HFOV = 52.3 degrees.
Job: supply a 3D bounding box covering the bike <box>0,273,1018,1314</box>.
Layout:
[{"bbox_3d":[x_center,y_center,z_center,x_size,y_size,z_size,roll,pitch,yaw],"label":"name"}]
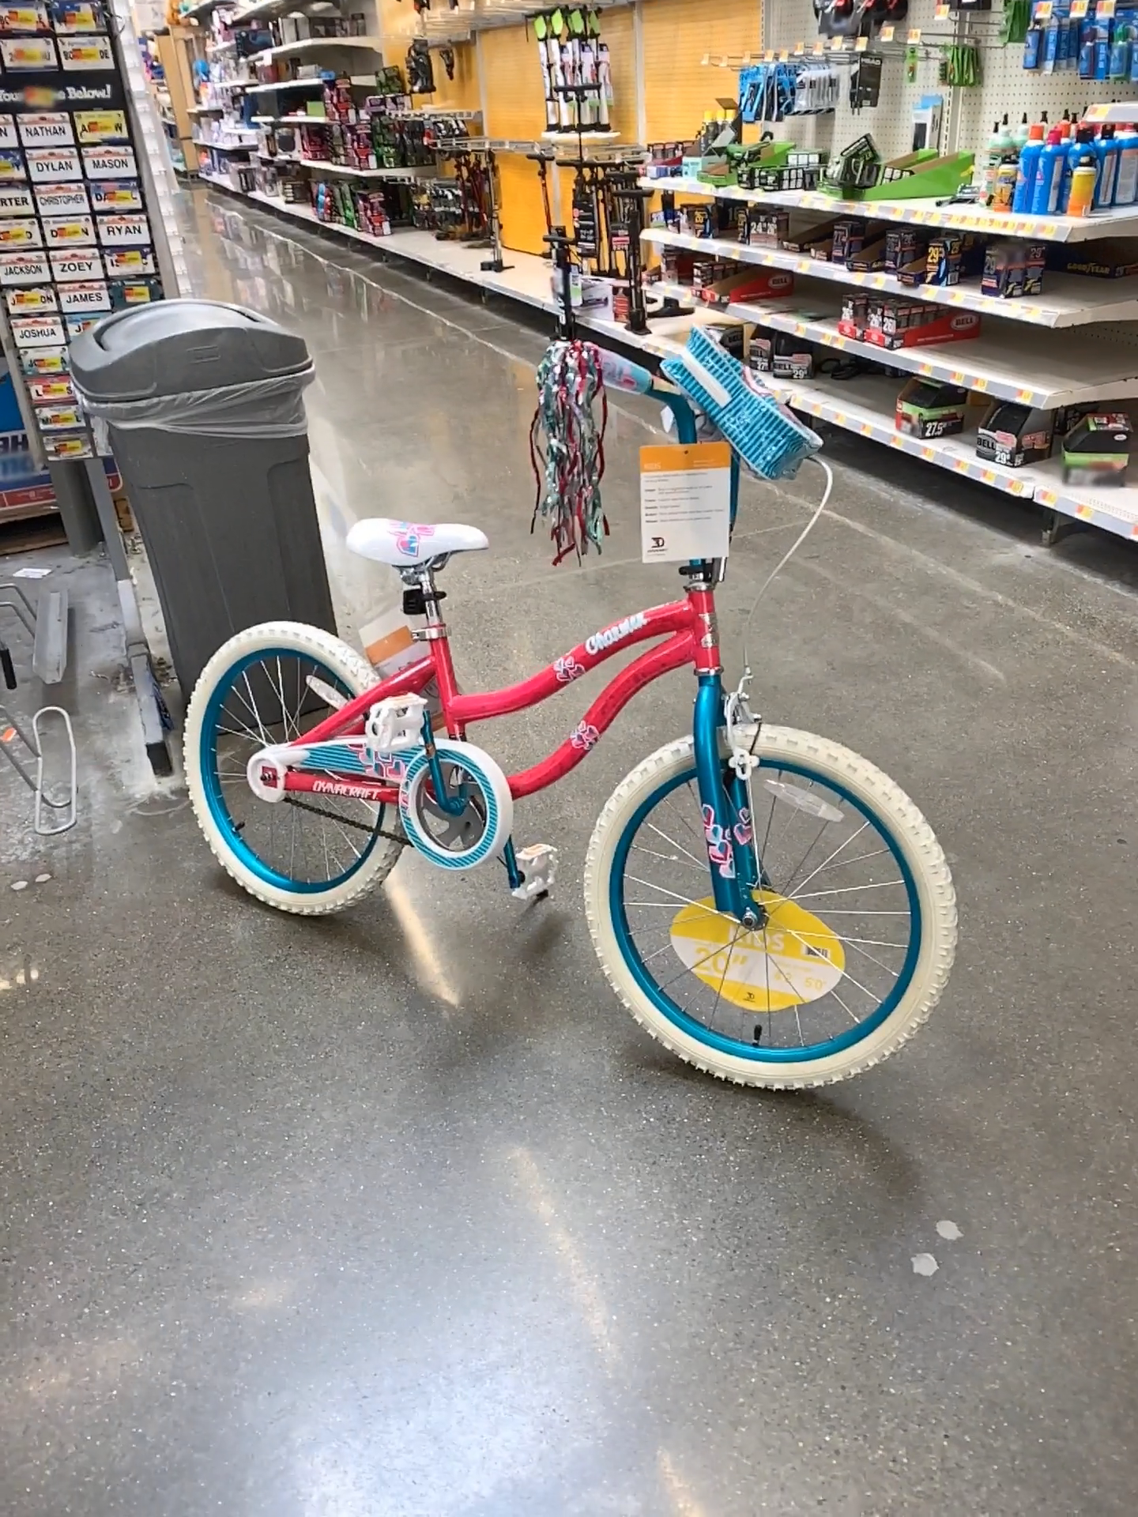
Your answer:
[{"bbox_3d":[-0.082,-0.085,1.672,1.261,0.929,0.656,15,34,24],"label":"bike"}]
